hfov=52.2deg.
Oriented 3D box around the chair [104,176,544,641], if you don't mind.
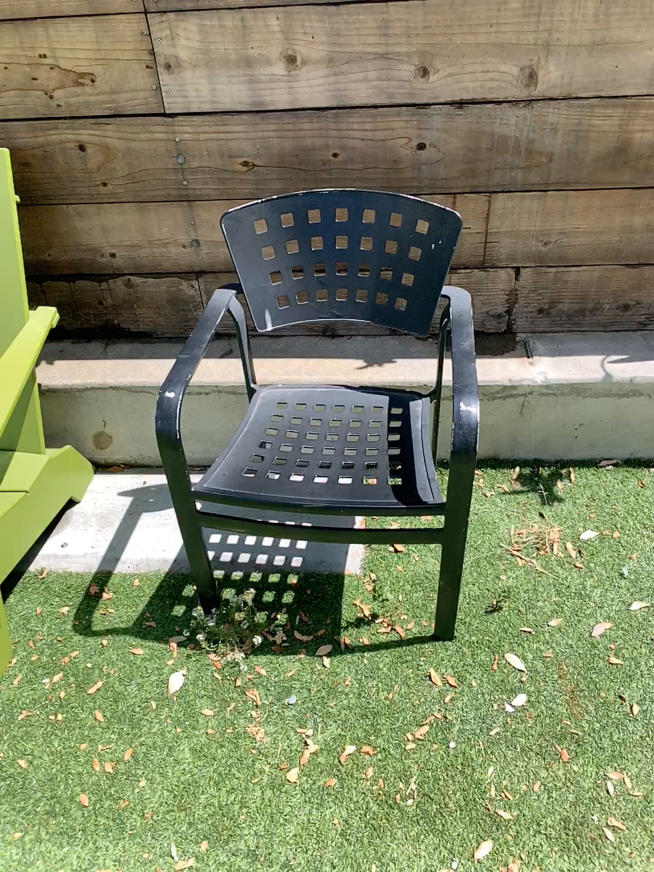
[{"bbox_3d":[0.036,-0.052,1.314,0.590,0.716,0.523,3,41,8],"label":"chair"}]
